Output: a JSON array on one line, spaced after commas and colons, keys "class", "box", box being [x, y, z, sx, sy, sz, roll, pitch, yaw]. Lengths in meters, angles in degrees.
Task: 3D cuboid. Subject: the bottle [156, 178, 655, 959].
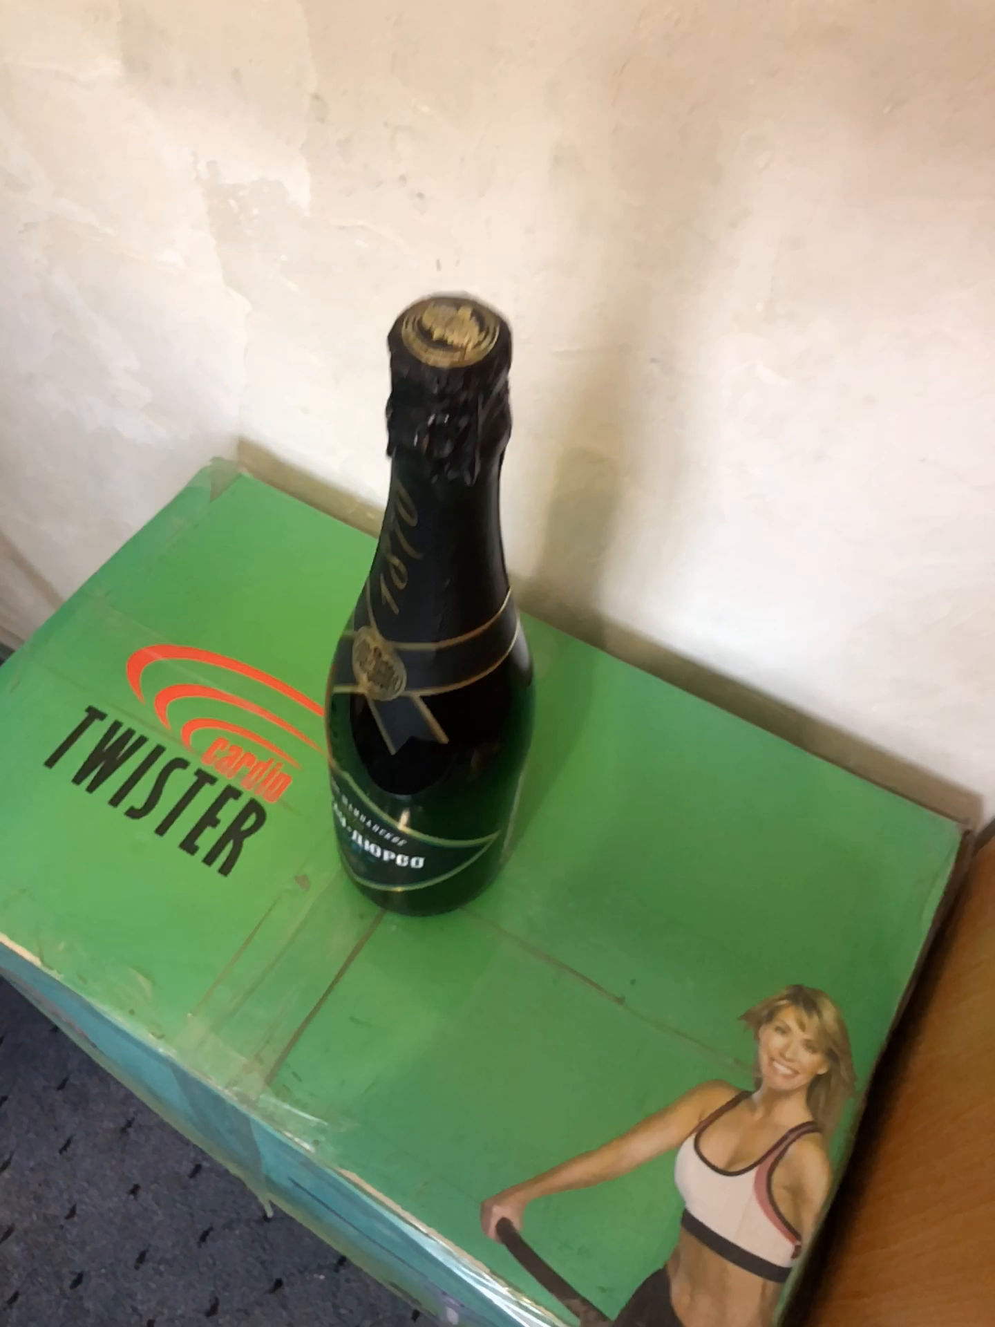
[{"class": "bottle", "box": [-0.028, -0.003, 0.404, 0.090, 0.300, 0.090, 1, 56, -1]}]
